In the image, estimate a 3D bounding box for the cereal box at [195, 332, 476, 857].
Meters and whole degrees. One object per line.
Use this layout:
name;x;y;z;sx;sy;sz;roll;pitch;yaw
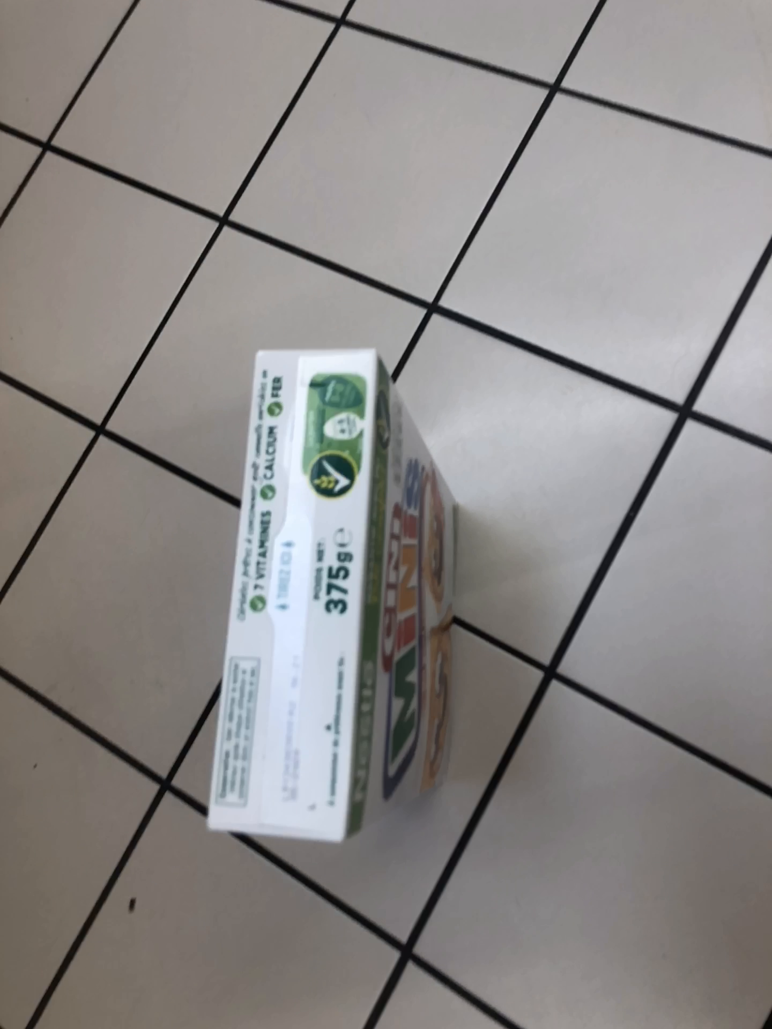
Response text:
cereal box;-0.003;0.054;0.455;0.070;0.270;0.200;-1;77;13
